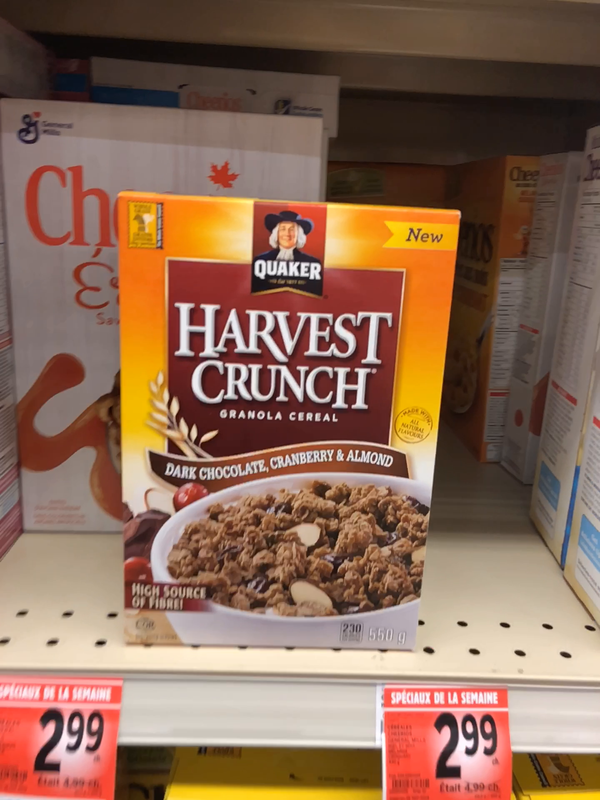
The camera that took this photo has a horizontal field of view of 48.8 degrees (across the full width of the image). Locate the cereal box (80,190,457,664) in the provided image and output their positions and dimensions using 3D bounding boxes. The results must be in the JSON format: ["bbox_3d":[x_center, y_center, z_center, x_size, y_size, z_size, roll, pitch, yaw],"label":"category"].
[{"bbox_3d":[-0.020,0.017,0.357,0.170,0.239,0.060,2,14,-2],"label":"cereal box"}]
